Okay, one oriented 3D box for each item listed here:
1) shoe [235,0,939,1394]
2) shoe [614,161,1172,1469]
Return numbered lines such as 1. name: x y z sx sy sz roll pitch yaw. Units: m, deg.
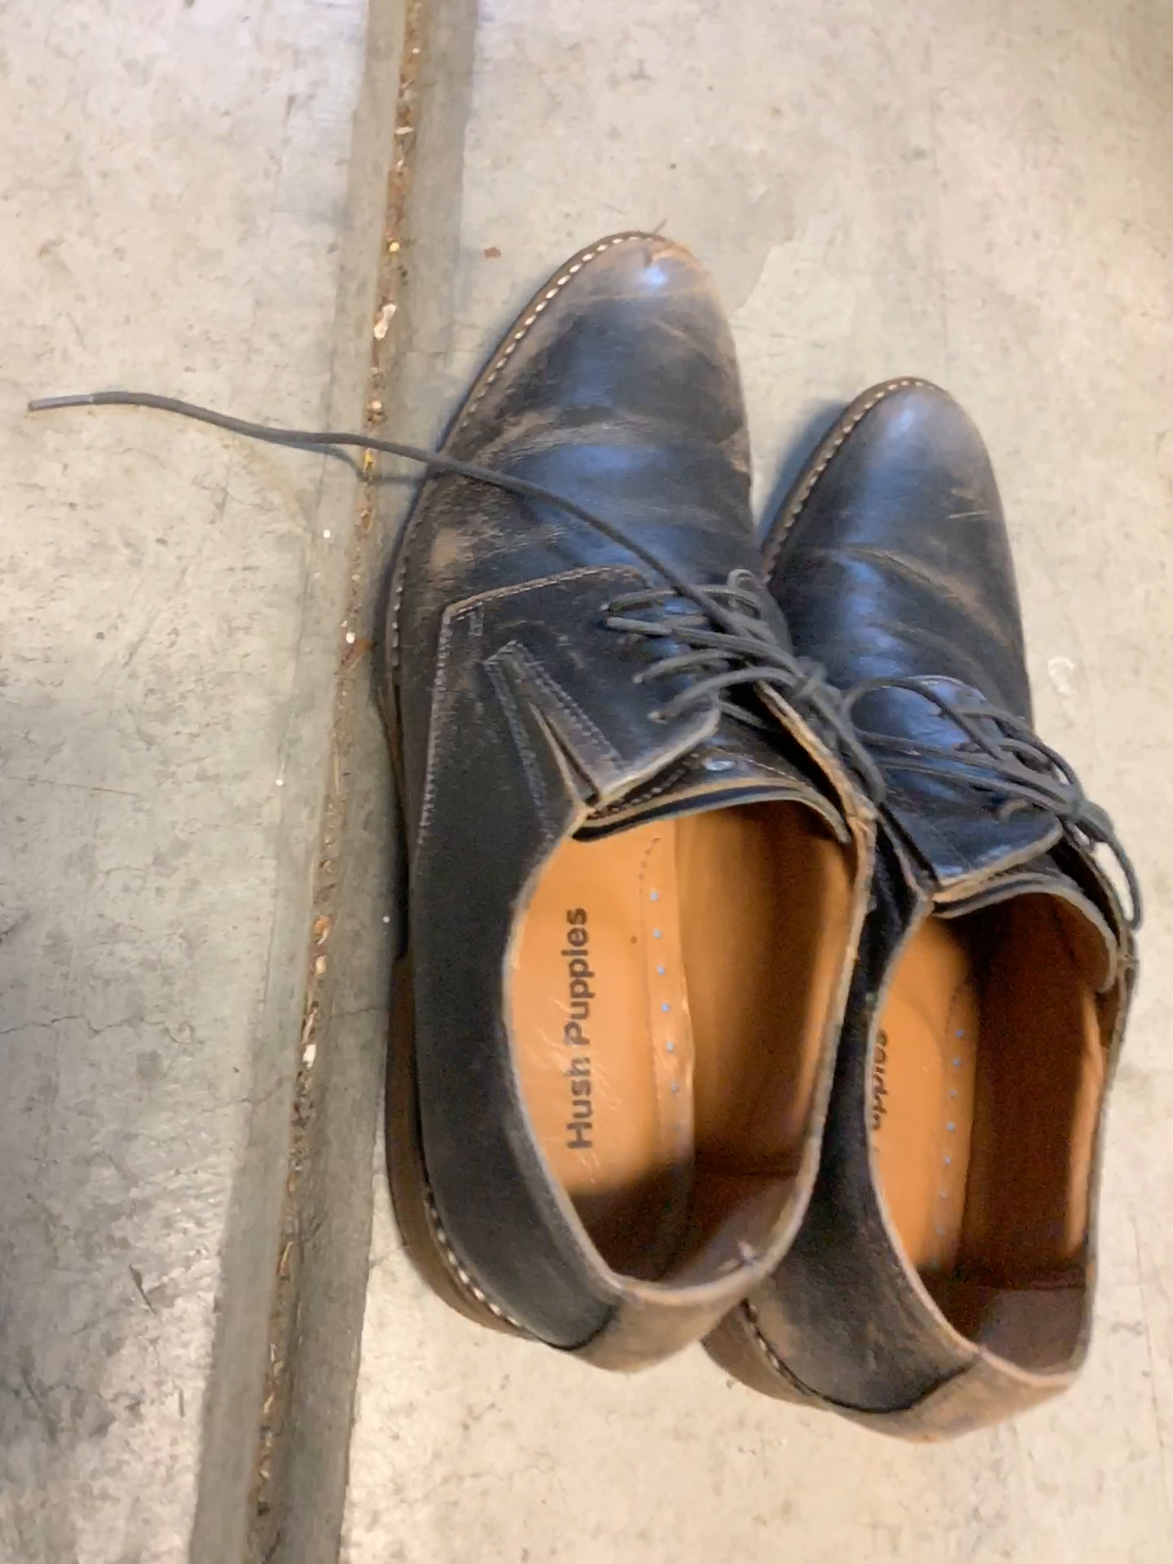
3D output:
1. shoe: 0.005 -0.029 0.311 0.110 0.119 0.311 13 71 -21
2. shoe: 0.101 0.006 0.344 0.110 0.119 0.305 15 70 -20
